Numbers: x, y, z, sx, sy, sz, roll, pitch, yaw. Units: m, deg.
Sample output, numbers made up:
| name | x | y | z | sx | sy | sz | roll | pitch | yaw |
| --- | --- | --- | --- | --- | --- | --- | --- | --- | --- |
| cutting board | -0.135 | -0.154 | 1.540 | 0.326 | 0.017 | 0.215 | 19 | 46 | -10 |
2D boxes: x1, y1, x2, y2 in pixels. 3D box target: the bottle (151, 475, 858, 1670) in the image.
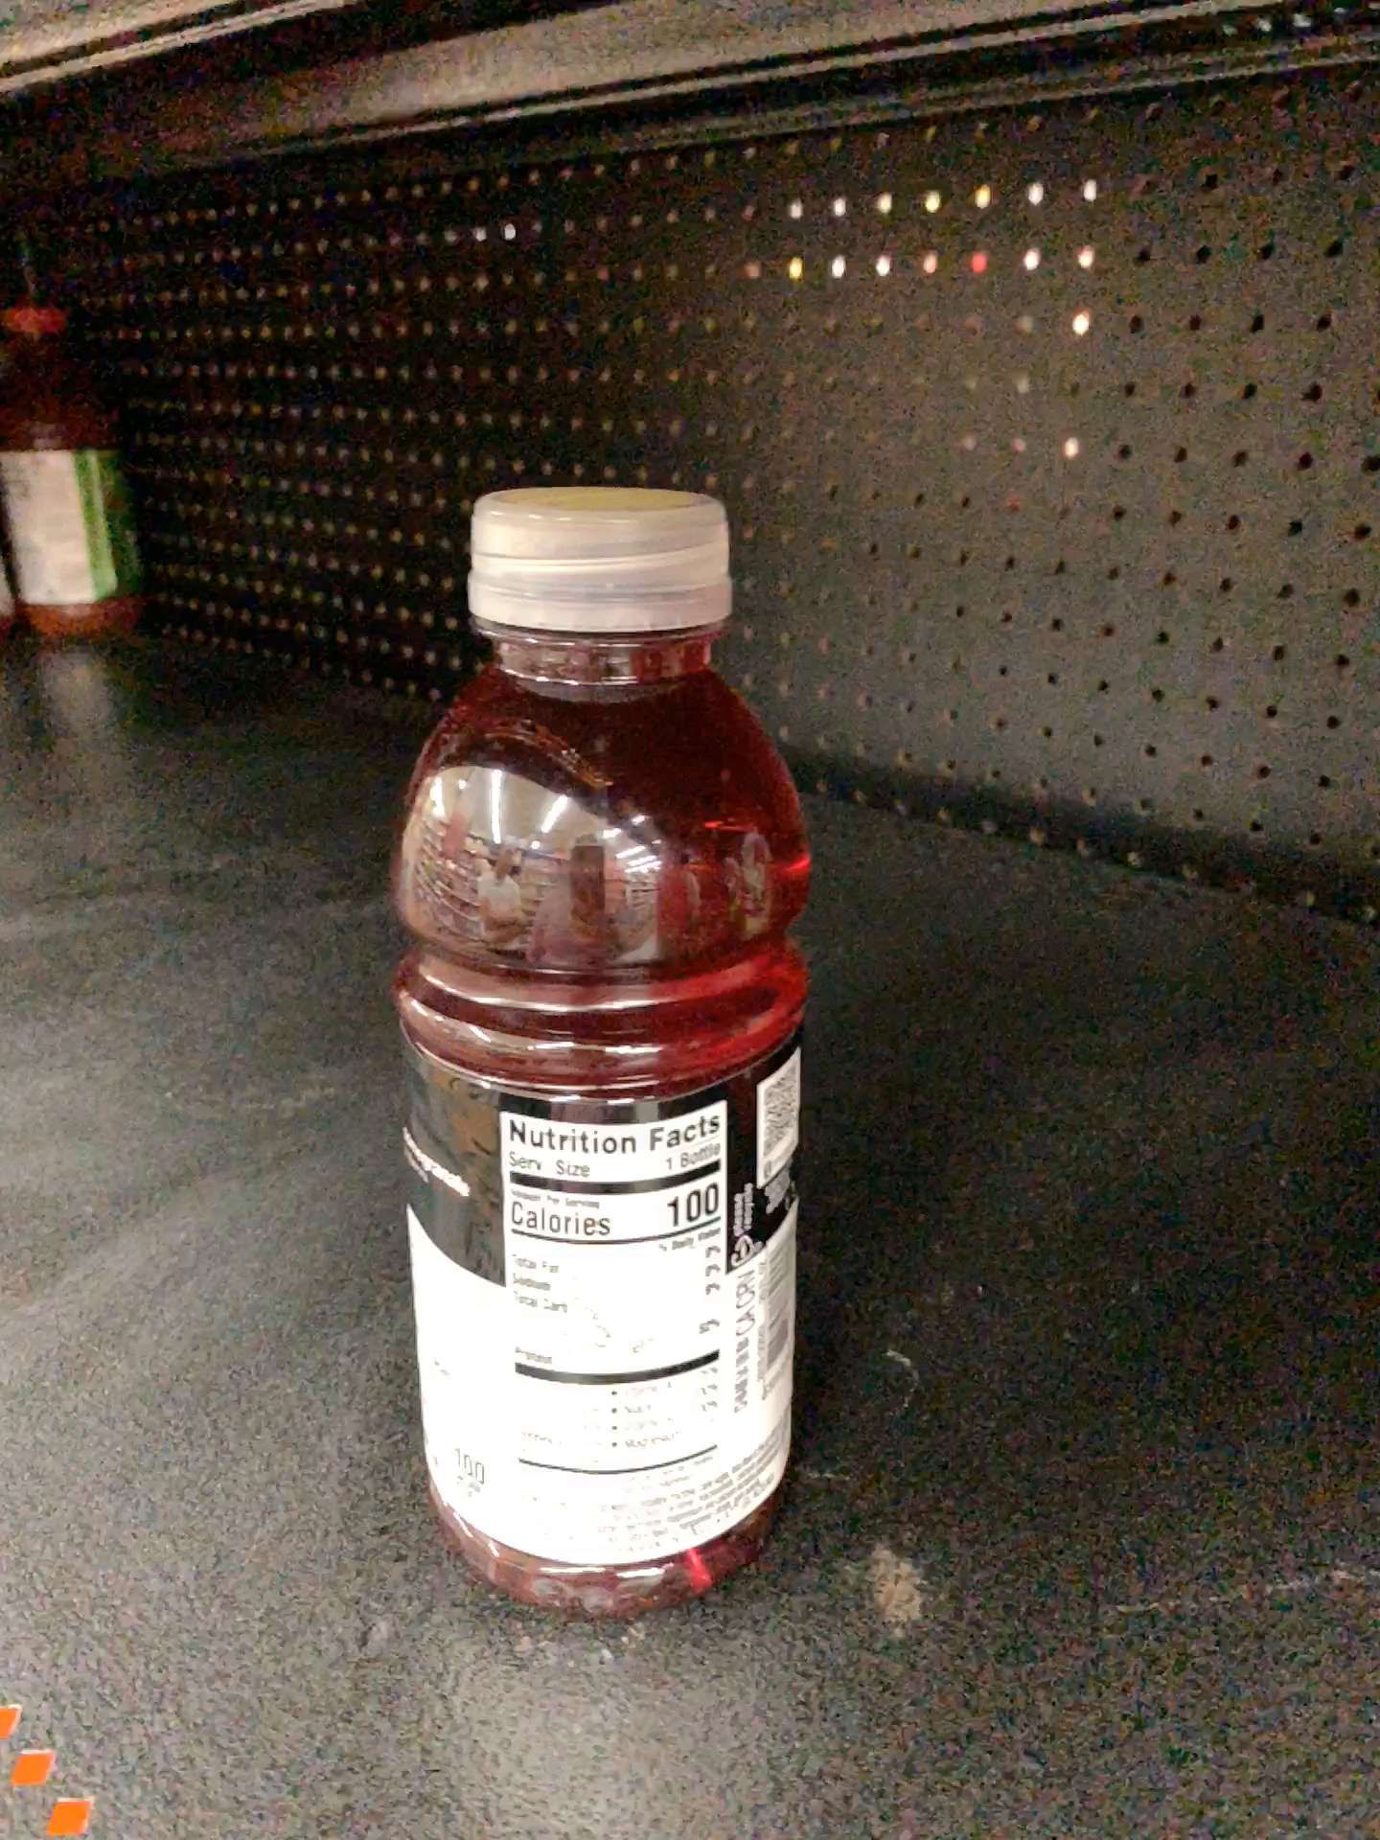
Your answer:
| name | x | y | z | sx | sy | sz | roll | pitch | yaw |
| --- | --- | --- | --- | --- | --- | --- | --- | --- | --- |
| bottle | -0.020 | 0.021 | 0.247 | 0.080 | 0.179 | 0.080 | -1 | 22 | 0 |
